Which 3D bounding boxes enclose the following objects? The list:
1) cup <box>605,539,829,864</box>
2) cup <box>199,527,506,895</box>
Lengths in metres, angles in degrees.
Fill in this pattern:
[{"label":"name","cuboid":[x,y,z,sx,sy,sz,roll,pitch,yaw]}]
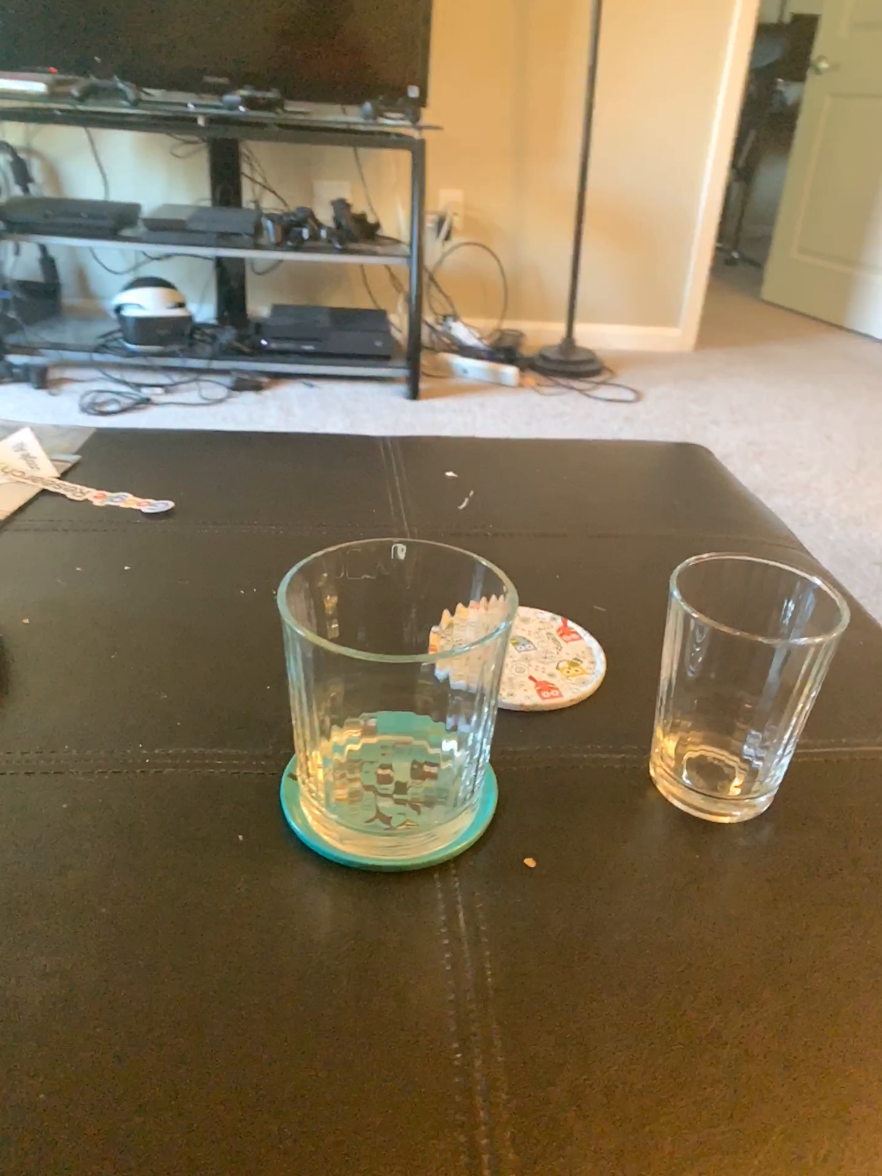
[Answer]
[{"label":"cup","cuboid":[0.107,0.041,0.353,0.060,0.089,0.070,13,30,17]},{"label":"cup","cuboid":[-0.030,0.041,0.340,0.080,0.089,0.080,3,29,-1]}]
